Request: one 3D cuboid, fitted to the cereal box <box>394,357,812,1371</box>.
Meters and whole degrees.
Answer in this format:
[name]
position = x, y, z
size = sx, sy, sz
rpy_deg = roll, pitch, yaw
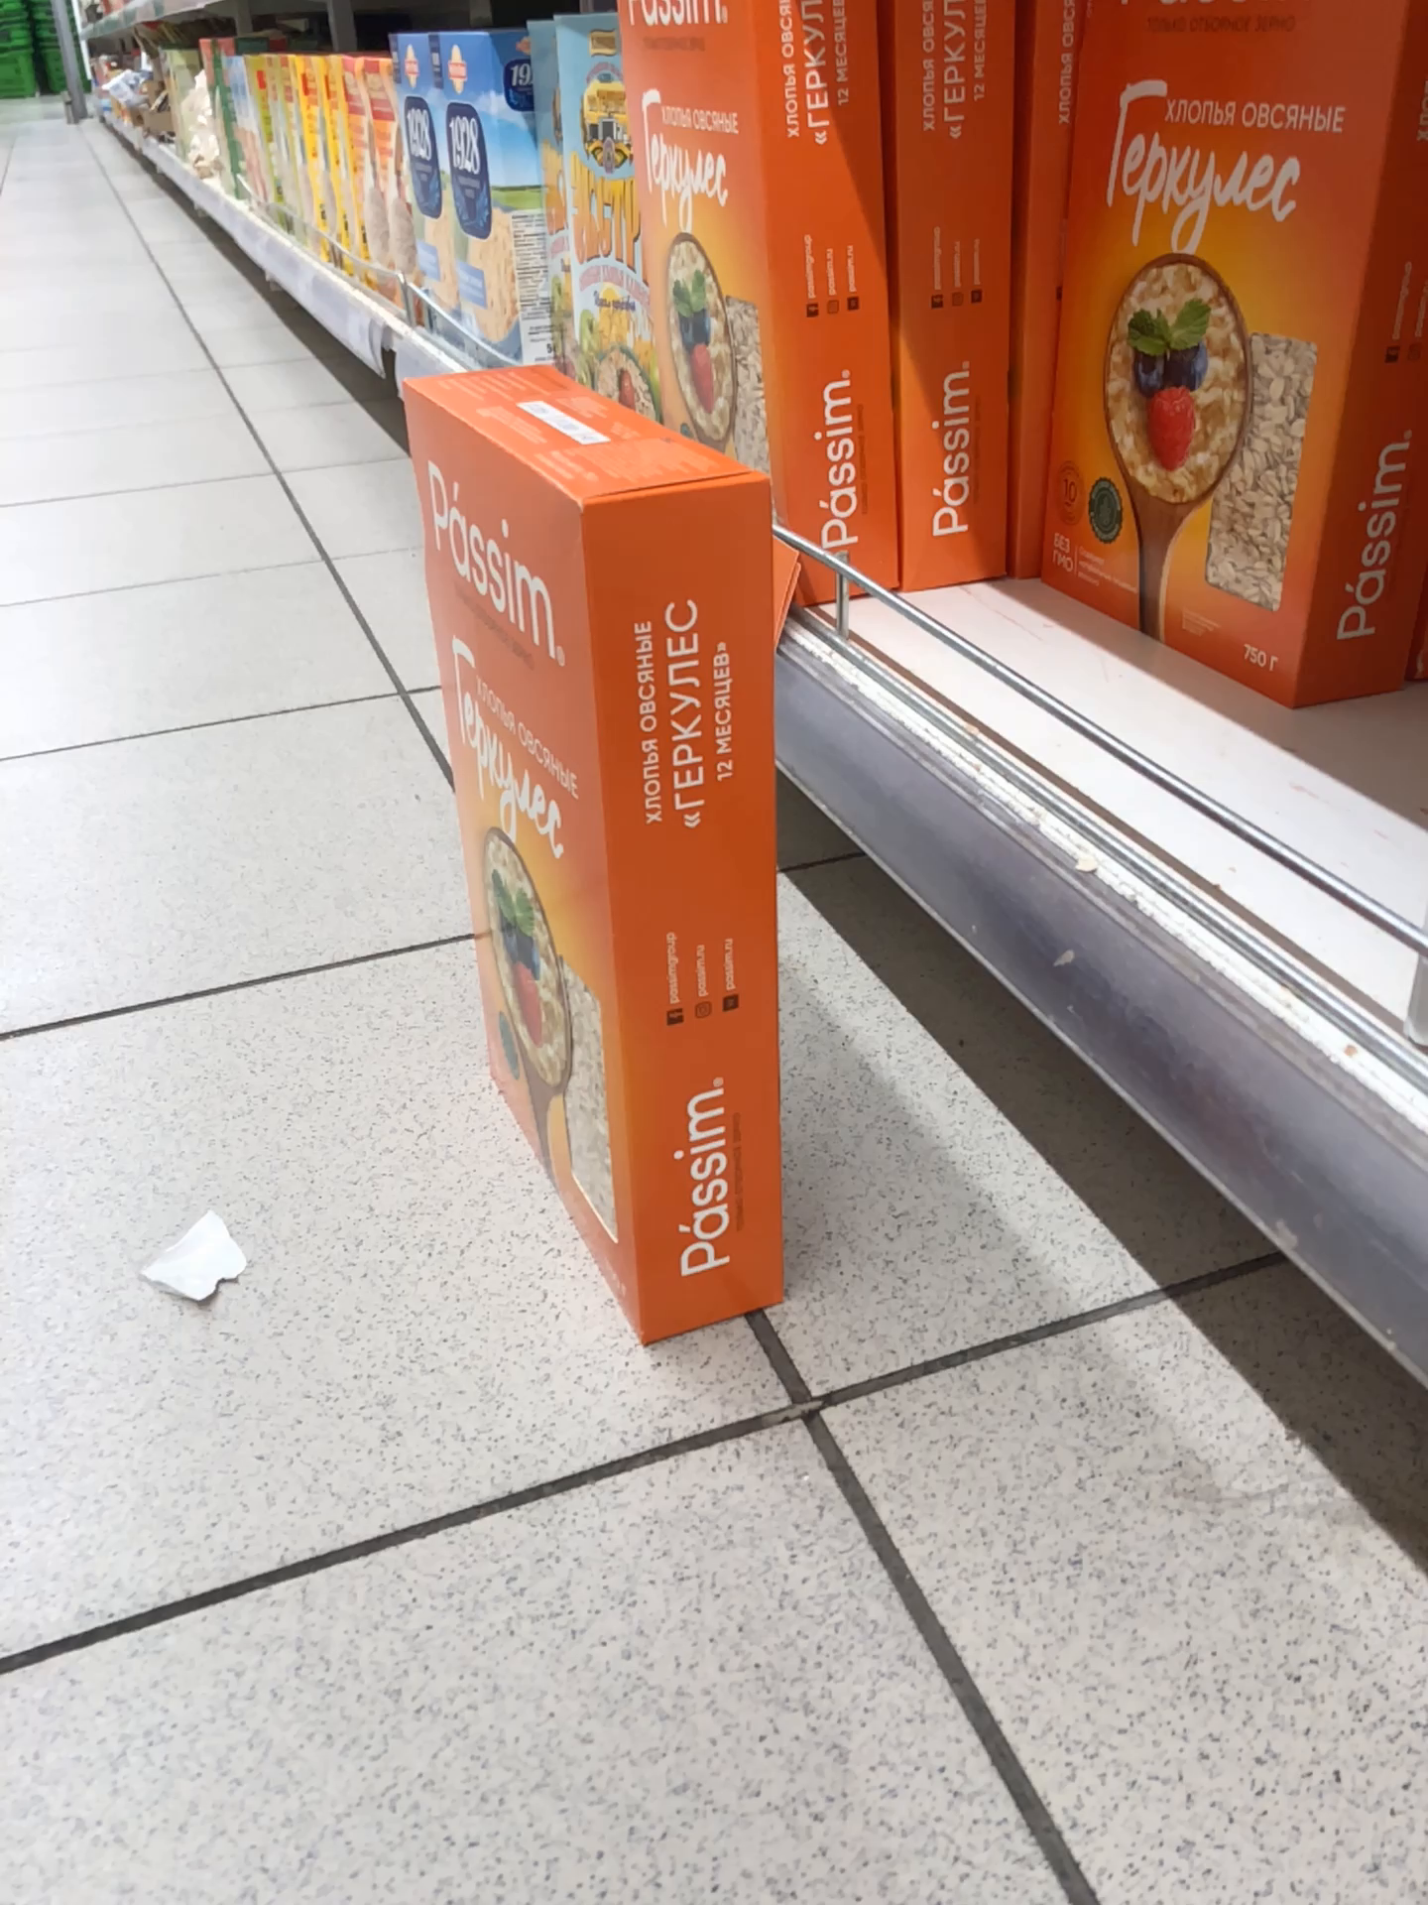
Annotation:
[cereal box]
position = -0.033, -0.031, 0.468
size = 0.050, 0.249, 0.171
rpy_deg = -14, 32, -19
